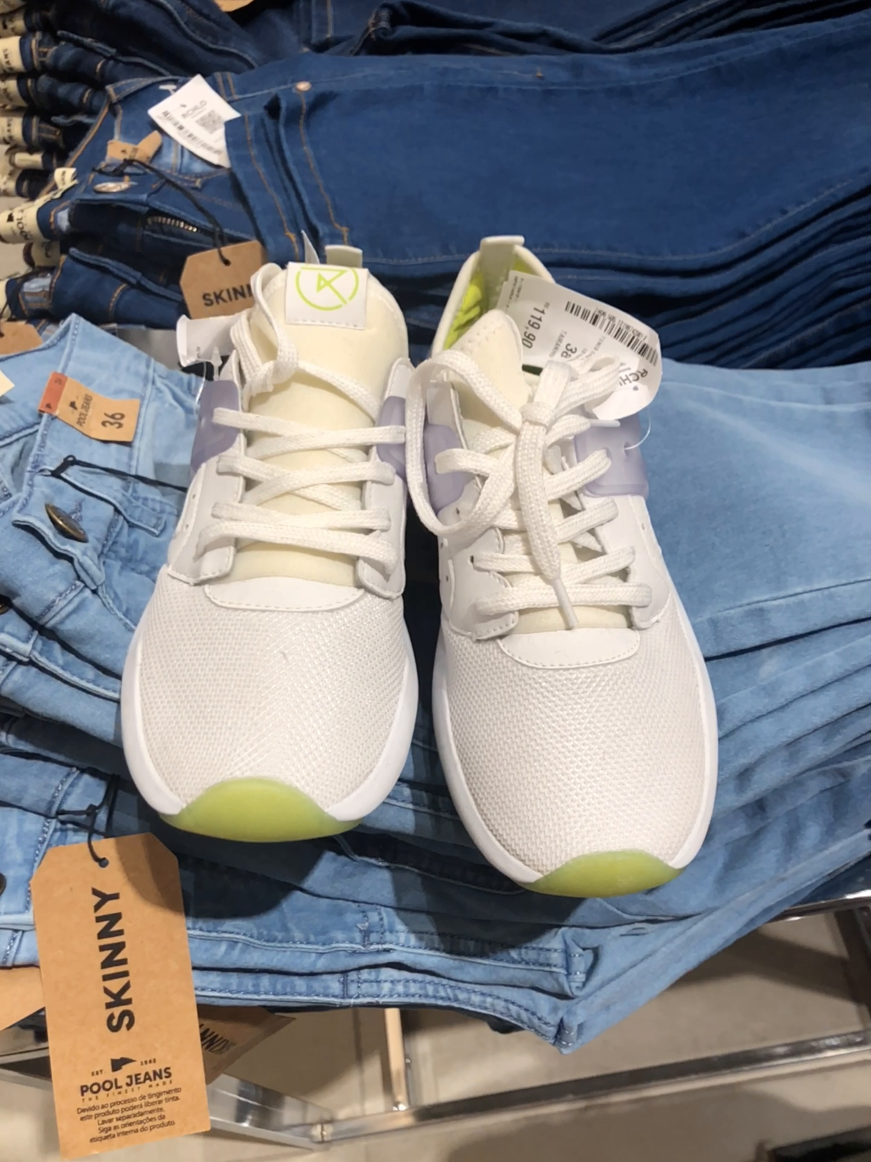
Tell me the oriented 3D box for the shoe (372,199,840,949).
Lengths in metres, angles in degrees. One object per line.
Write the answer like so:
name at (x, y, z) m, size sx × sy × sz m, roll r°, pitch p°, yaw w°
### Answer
shoe at (0.042, -0.015, 0.348) m, size 0.100 × 0.089 × 0.251 m, roll -8°, pitch 56°, yaw 2°

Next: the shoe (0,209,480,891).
shoe at (-0.051, -0.036, 0.357) m, size 0.110 × 0.119 × 0.261 m, roll 5°, pitch 35°, yaw -3°
